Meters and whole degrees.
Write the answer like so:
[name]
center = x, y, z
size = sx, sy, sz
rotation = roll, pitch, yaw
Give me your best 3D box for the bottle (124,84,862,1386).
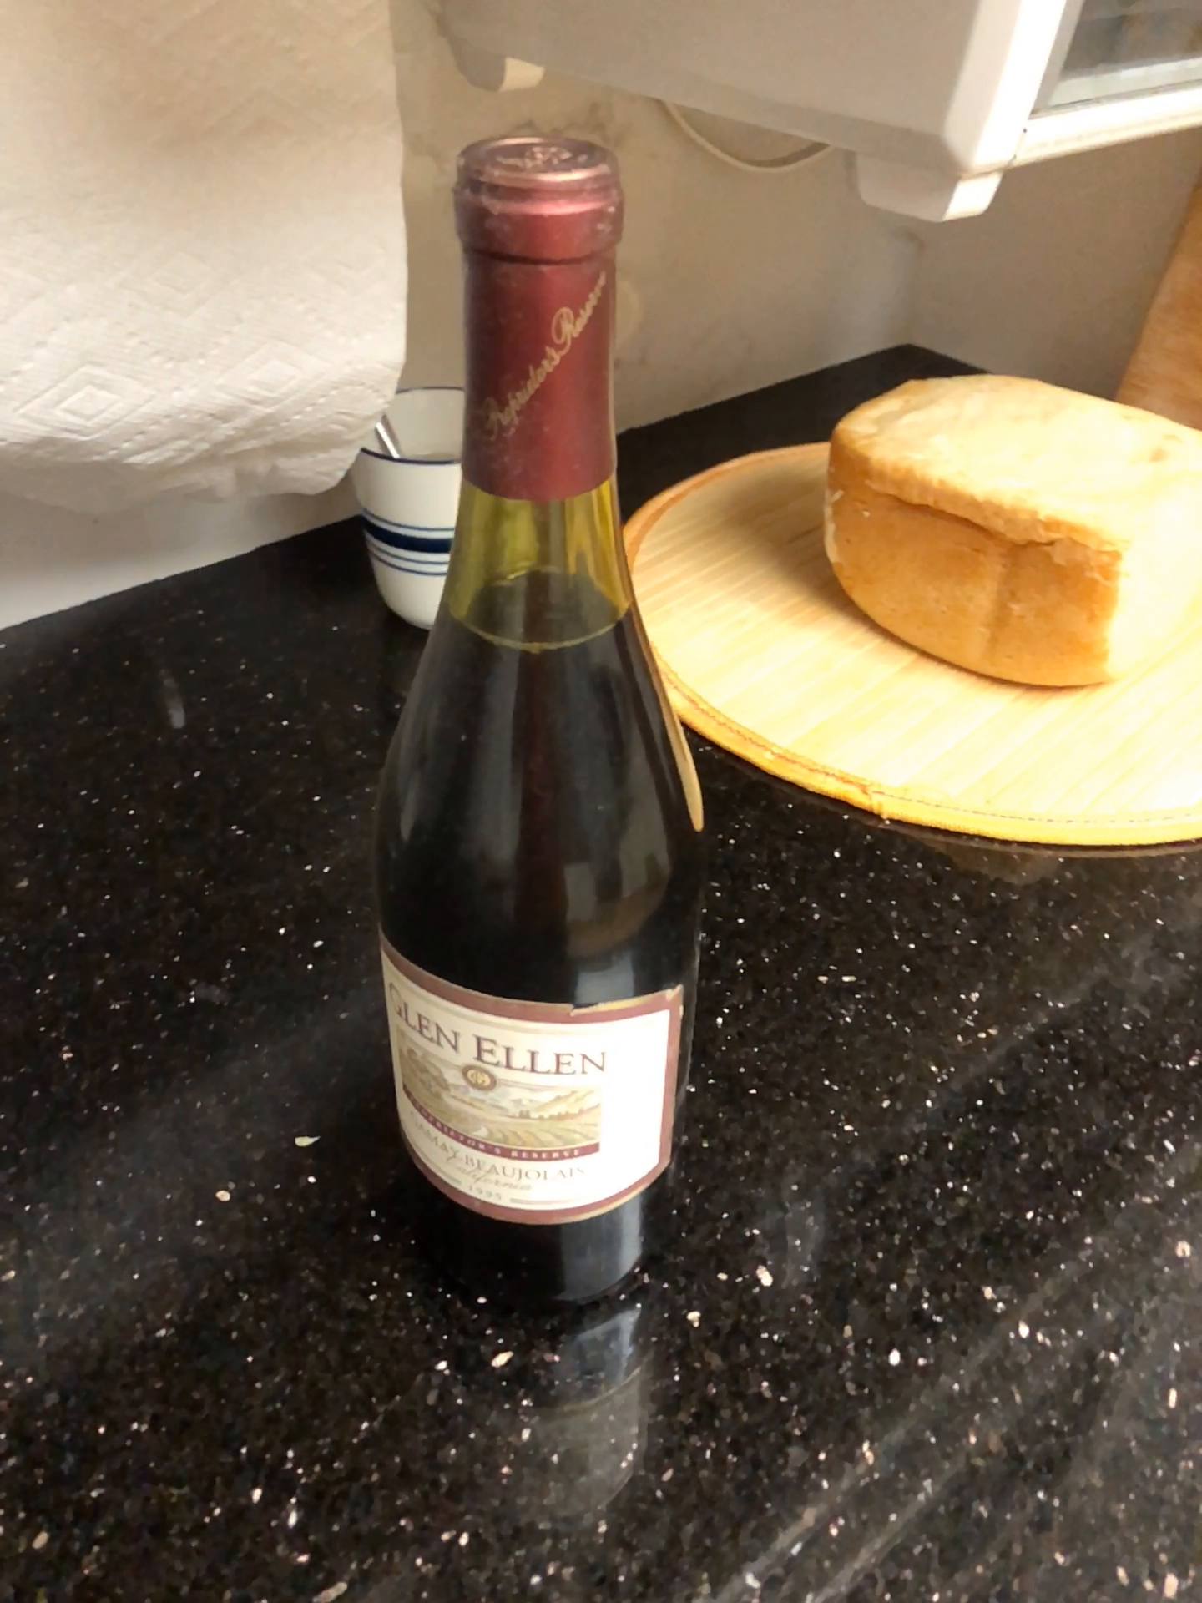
[bottle]
center = -0.017, 0.004, 0.313
size = 0.090, 0.288, 0.090
rotation = 1, 38, -1
